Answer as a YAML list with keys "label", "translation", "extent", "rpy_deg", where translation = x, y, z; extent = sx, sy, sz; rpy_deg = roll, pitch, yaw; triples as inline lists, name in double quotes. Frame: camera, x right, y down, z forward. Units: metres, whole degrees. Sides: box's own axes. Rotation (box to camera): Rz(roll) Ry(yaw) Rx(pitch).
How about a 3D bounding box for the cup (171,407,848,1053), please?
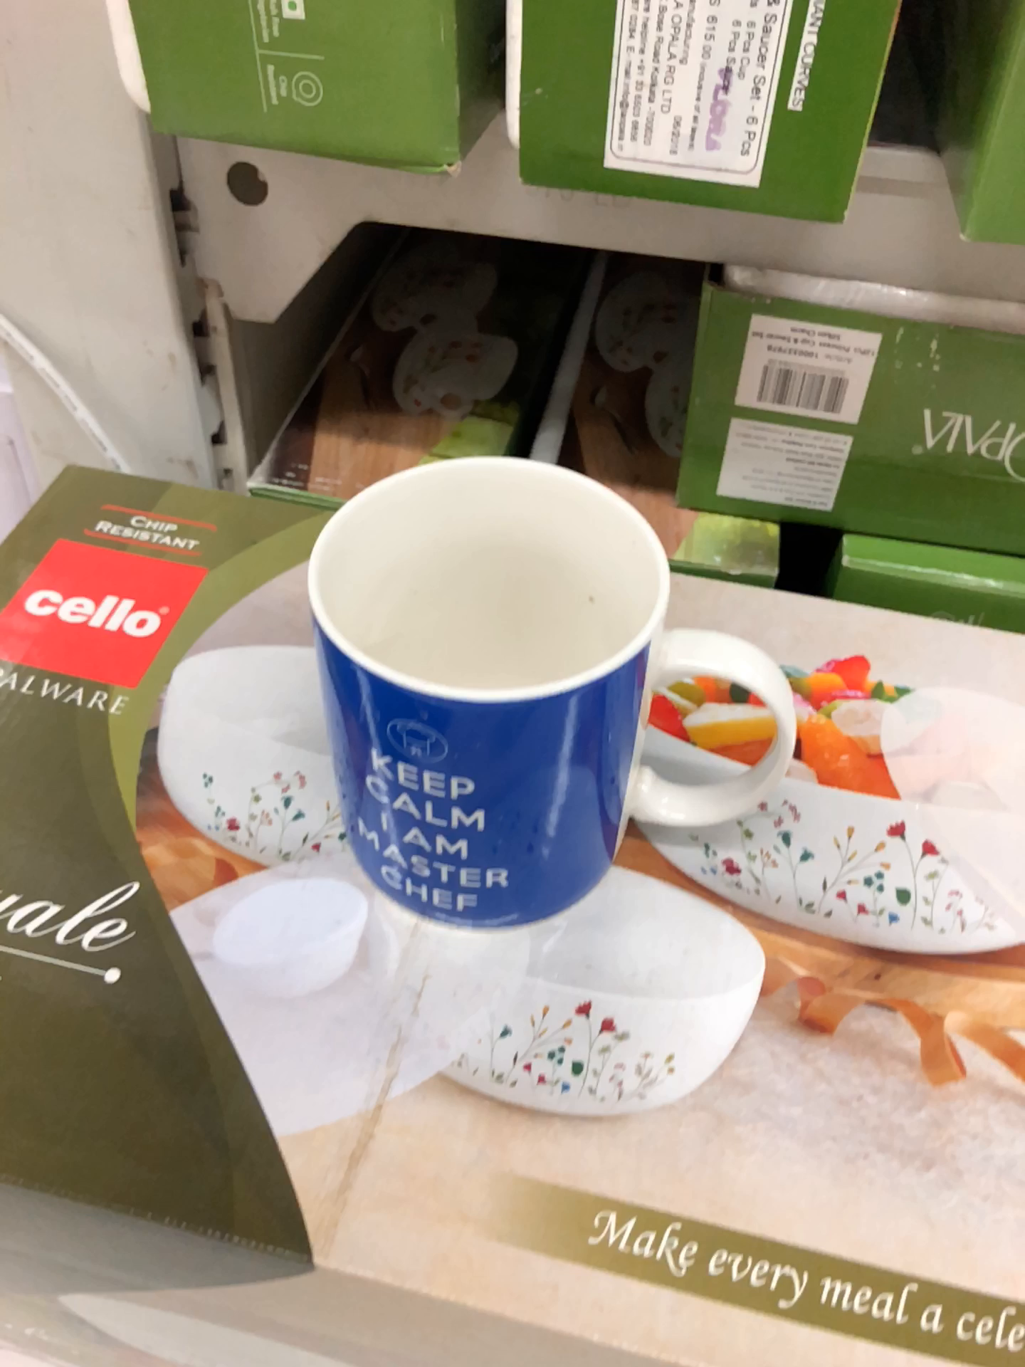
- label: "cup"
  translation: [0.006, 0.009, 0.306]
  extent: [0.140, 0.099, 0.111]
  rpy_deg: [11, 46, 7]
